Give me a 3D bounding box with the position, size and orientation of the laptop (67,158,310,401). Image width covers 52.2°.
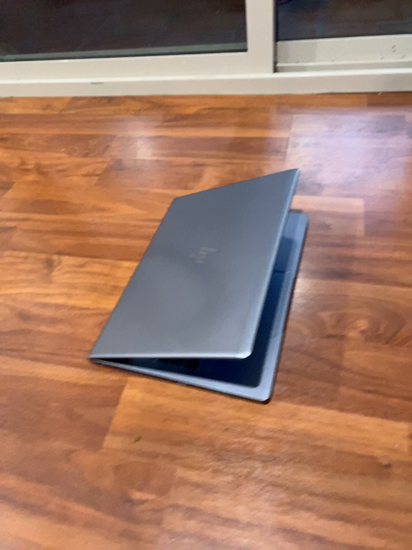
[{"bbox_3d":[0.001,-0.023,0.576,0.230,0.077,0.326,9,51,15],"label":"laptop"}]
